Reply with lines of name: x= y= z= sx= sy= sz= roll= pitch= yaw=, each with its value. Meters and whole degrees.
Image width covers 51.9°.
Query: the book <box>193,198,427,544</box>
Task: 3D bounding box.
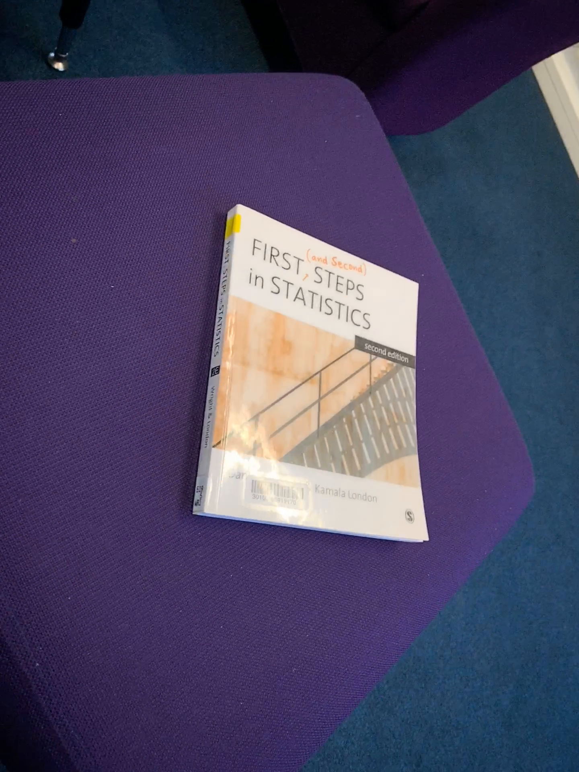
book: x=0.029 y=-0.007 z=0.457 sx=0.189 sy=0.022 sz=0.229 roll=17 pitch=66 yaw=-31
